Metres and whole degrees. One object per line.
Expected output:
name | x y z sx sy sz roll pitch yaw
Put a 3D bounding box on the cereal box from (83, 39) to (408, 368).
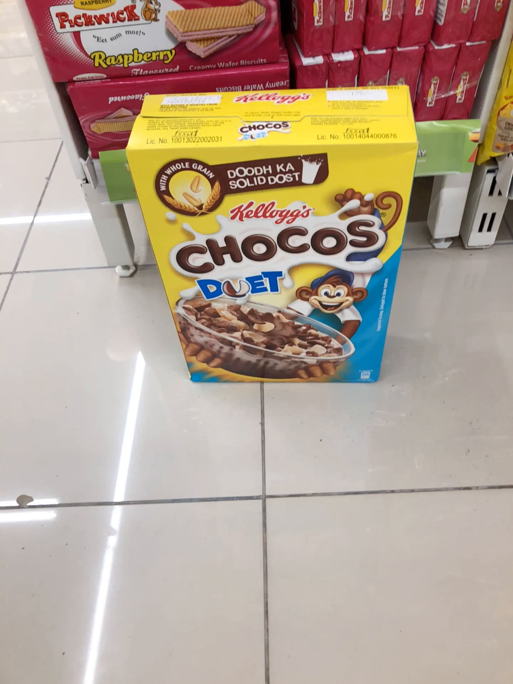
cereal box | 0.003 -0.085 0.450 0.190 0.259 0.070 -1 51 5
